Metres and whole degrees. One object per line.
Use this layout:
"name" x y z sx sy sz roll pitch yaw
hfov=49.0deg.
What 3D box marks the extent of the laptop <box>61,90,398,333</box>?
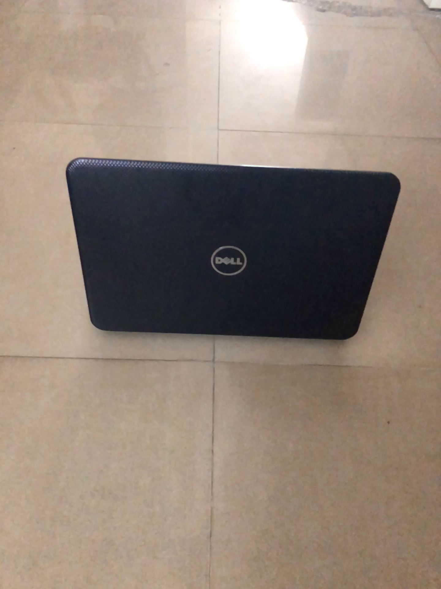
"laptop" 0.009 -0.115 0.676 0.351 0.227 0.249 2 47 -1
